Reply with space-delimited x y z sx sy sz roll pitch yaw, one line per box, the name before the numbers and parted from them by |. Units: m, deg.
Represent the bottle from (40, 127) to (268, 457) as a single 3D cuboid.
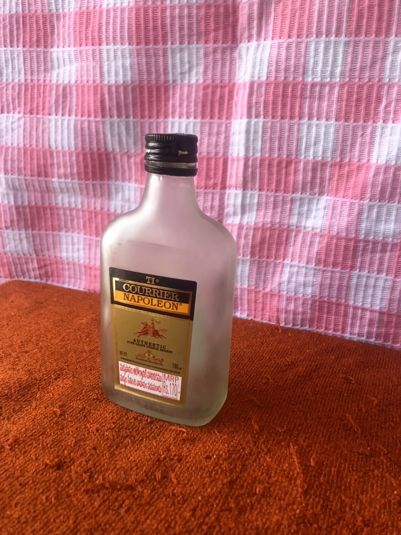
bottle | -0.021 0.006 0.206 0.080 0.129 0.050 10 20 19
